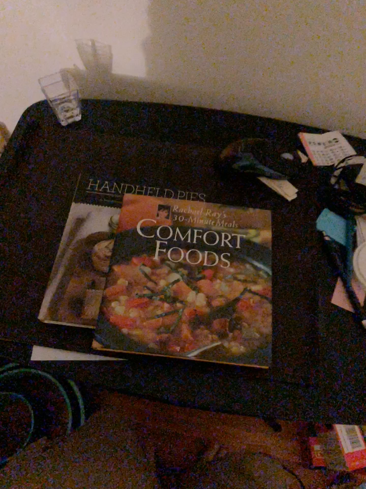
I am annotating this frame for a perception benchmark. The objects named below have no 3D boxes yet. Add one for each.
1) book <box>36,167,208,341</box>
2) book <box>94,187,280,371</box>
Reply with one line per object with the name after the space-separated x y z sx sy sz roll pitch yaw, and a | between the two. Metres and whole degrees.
-0.067 0.002 0.492 0.180 0.020 0.220 7 63 1 | book
0.014 0.032 0.462 0.200 0.020 0.210 6 63 1 | book
